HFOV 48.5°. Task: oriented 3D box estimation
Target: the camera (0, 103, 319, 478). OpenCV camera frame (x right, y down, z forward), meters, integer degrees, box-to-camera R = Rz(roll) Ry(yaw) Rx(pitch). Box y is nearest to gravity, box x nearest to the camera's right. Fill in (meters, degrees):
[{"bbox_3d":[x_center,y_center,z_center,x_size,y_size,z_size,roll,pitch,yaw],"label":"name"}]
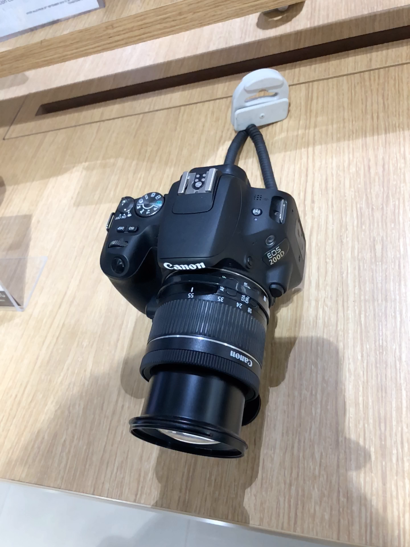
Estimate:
[{"bbox_3d":[-0.008,0.010,0.251,0.120,0.099,0.161,-2,57,22],"label":"camera"}]
